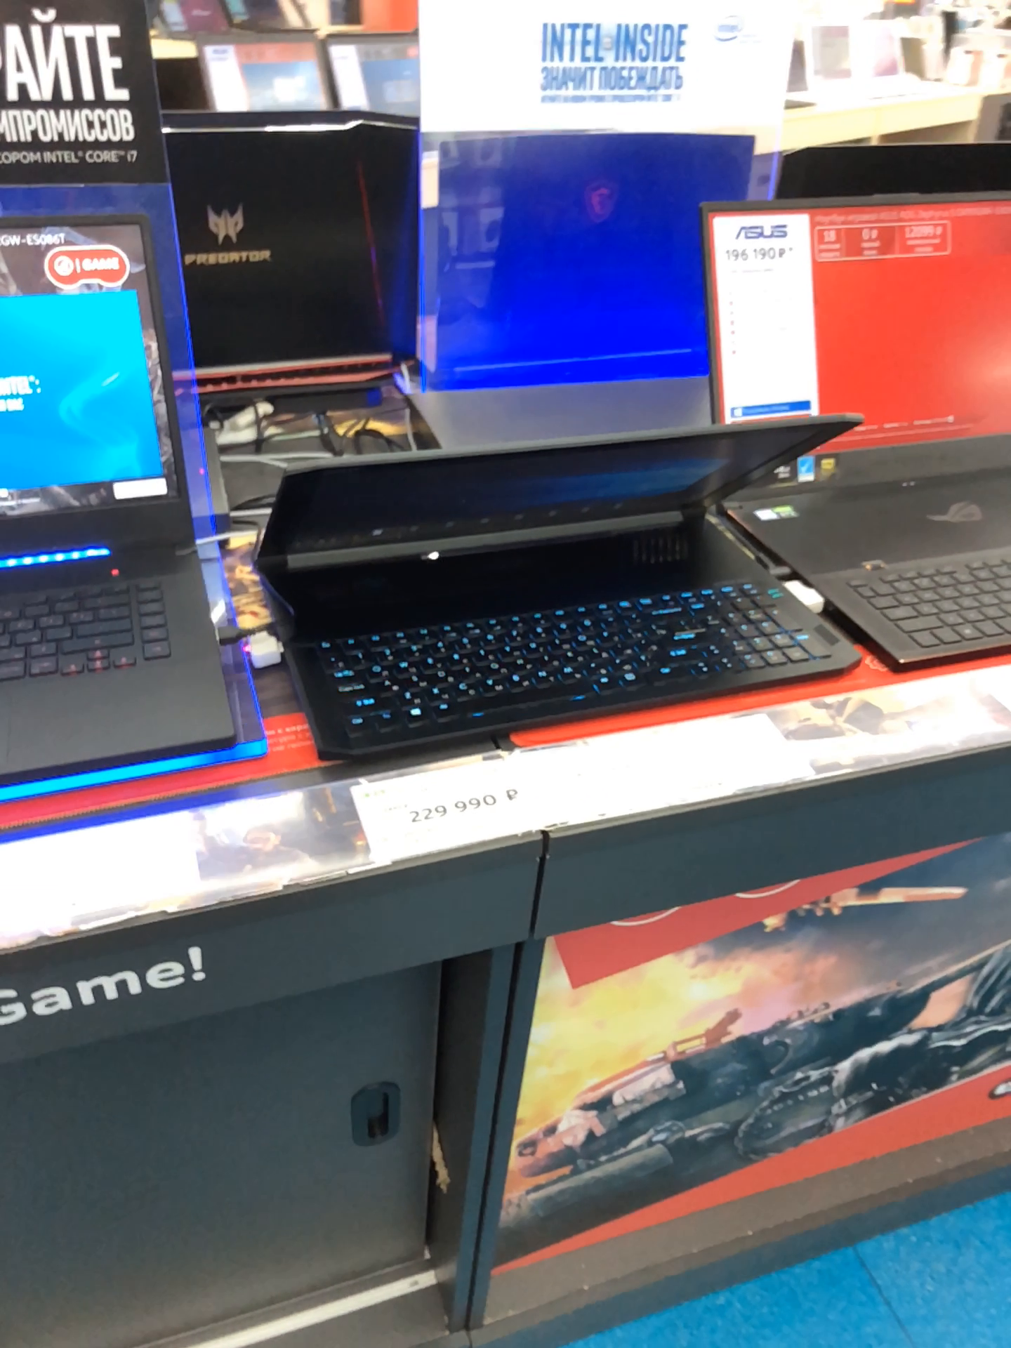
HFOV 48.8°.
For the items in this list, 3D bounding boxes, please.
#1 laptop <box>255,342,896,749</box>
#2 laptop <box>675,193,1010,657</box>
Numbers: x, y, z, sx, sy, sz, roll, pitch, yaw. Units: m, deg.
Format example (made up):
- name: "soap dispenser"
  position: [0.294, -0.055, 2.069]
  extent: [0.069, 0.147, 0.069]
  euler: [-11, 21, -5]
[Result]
- name: "laptop"
  position: [0.035, -0.109, 0.783]
  extent: [0.370, 0.152, 0.227]
  euler: [-9, 35, -17]
- name: "laptop"
  position: [0.405, -0.234, 0.923]
  extent: [0.372, 0.235, 0.364]
  euler: [-9, 34, -17]
